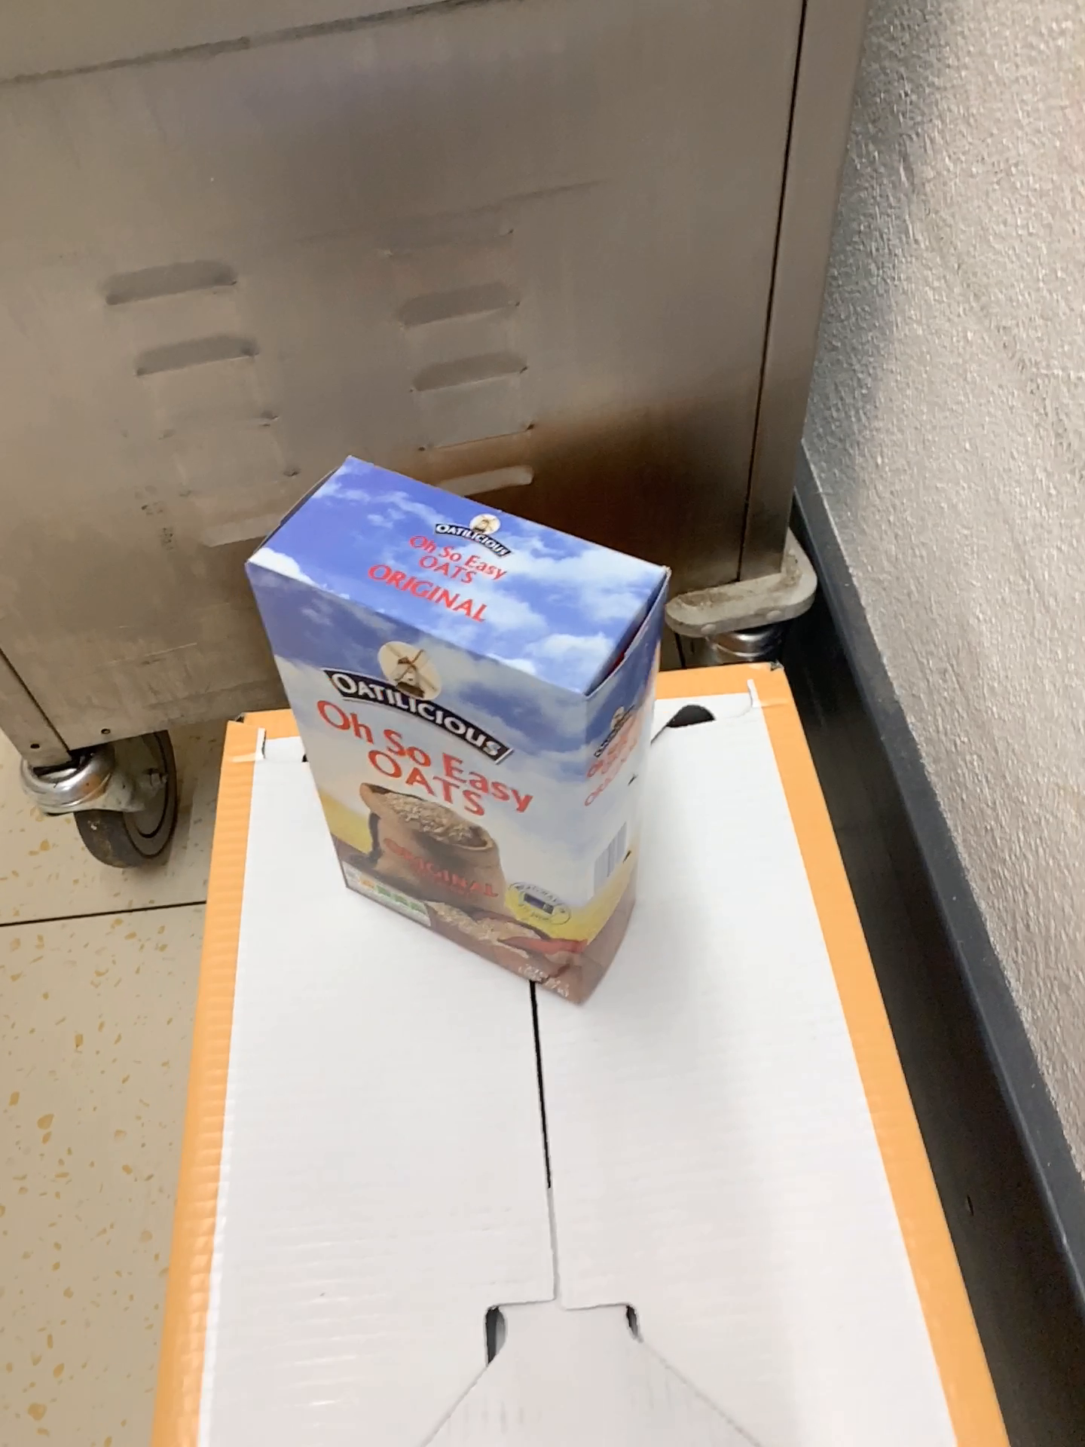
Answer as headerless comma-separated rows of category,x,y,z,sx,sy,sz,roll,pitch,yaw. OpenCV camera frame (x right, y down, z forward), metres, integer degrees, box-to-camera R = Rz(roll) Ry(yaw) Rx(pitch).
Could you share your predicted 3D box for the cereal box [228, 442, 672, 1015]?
cereal box,-0.026,0.013,0.439,0.130,0.218,0.060,22,55,20
